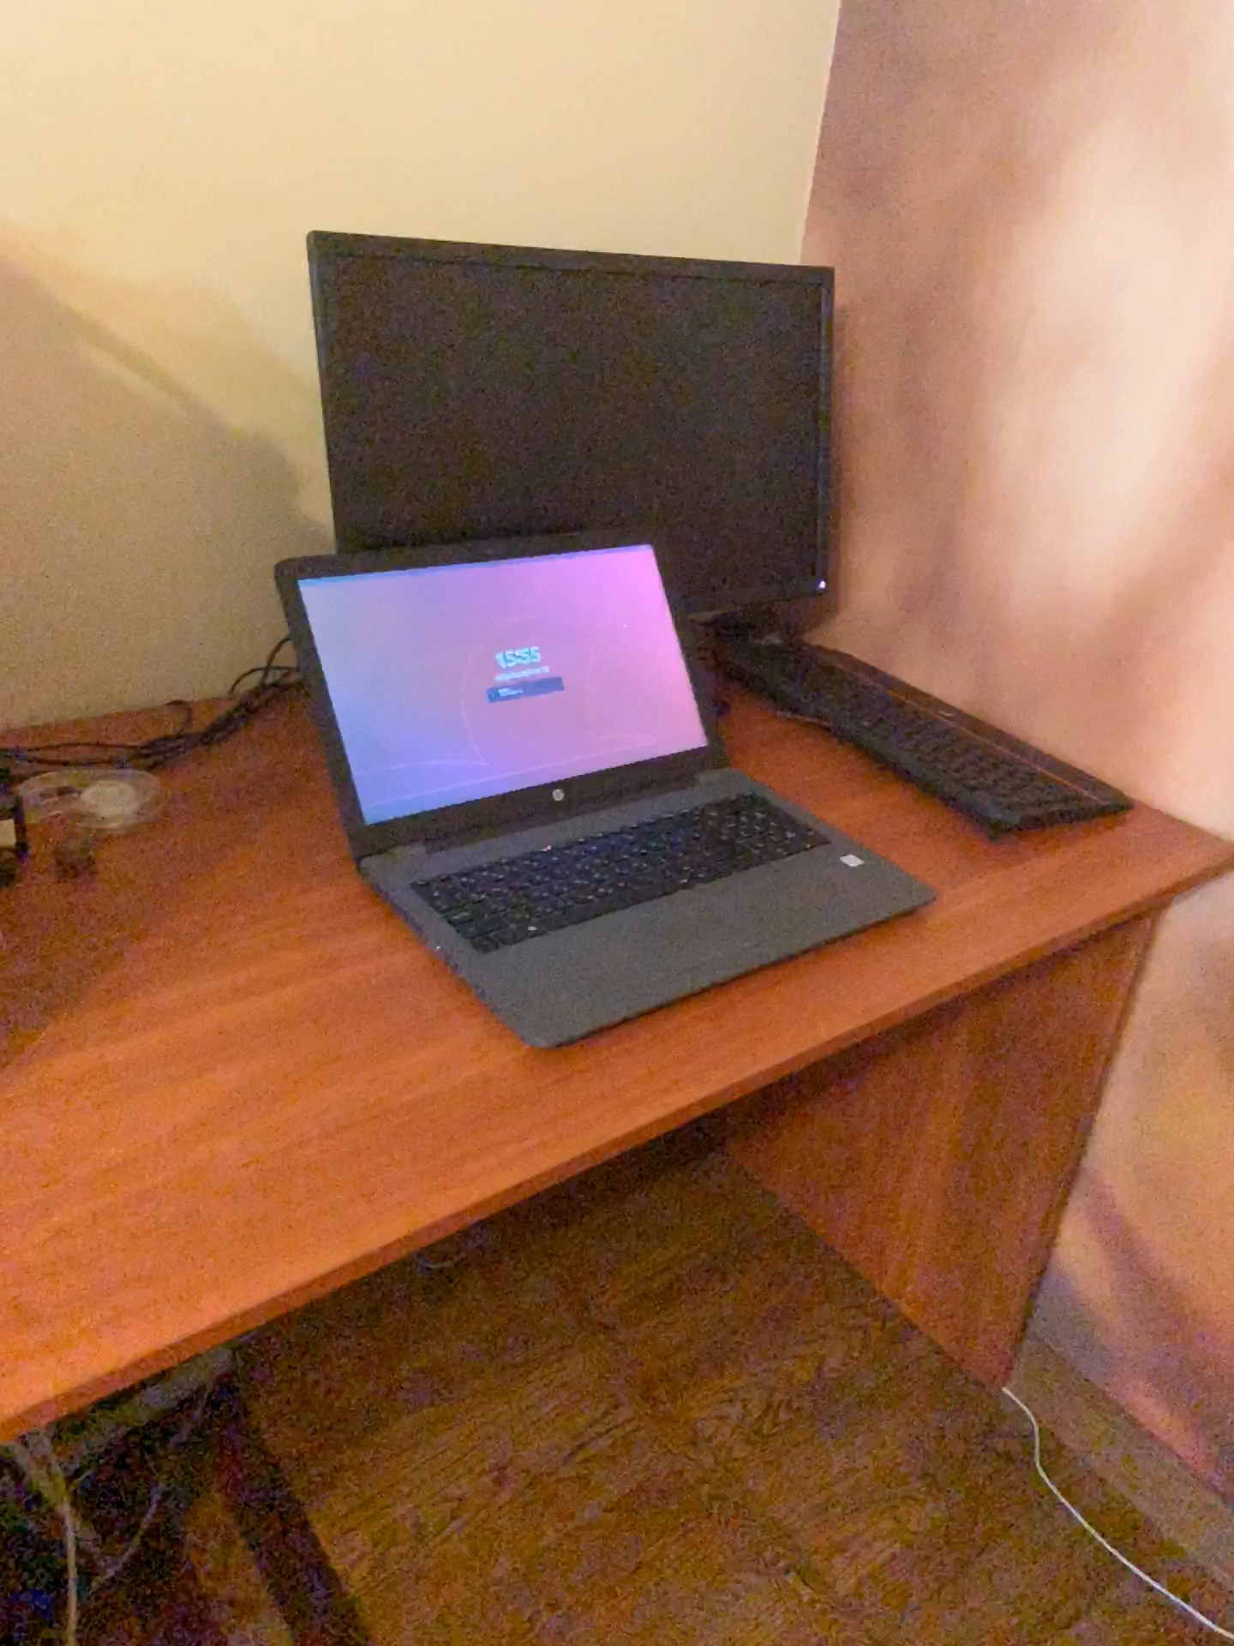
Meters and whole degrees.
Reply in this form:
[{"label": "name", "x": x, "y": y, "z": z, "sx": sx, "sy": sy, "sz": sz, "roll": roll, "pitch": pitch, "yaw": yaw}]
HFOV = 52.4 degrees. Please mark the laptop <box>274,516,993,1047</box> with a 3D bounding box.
[{"label": "laptop", "x": -0.004, "y": -0.071, "z": 0.935, "sx": 0.367, "sy": 0.181, "sz": 0.375, "roll": -15, "pitch": 35, "yaw": -35}]
